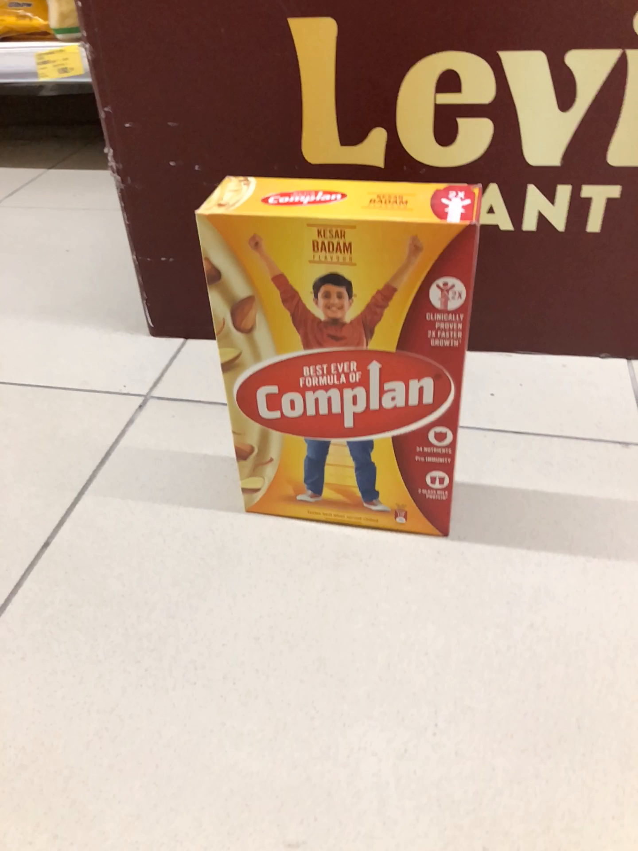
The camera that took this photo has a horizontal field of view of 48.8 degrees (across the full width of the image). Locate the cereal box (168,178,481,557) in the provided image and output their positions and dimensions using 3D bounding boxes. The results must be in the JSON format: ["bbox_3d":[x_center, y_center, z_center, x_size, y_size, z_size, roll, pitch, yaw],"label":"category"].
[{"bbox_3d":[0.010,-0.027,0.423,0.150,0.219,0.060,5,38,11],"label":"cereal box"}]
